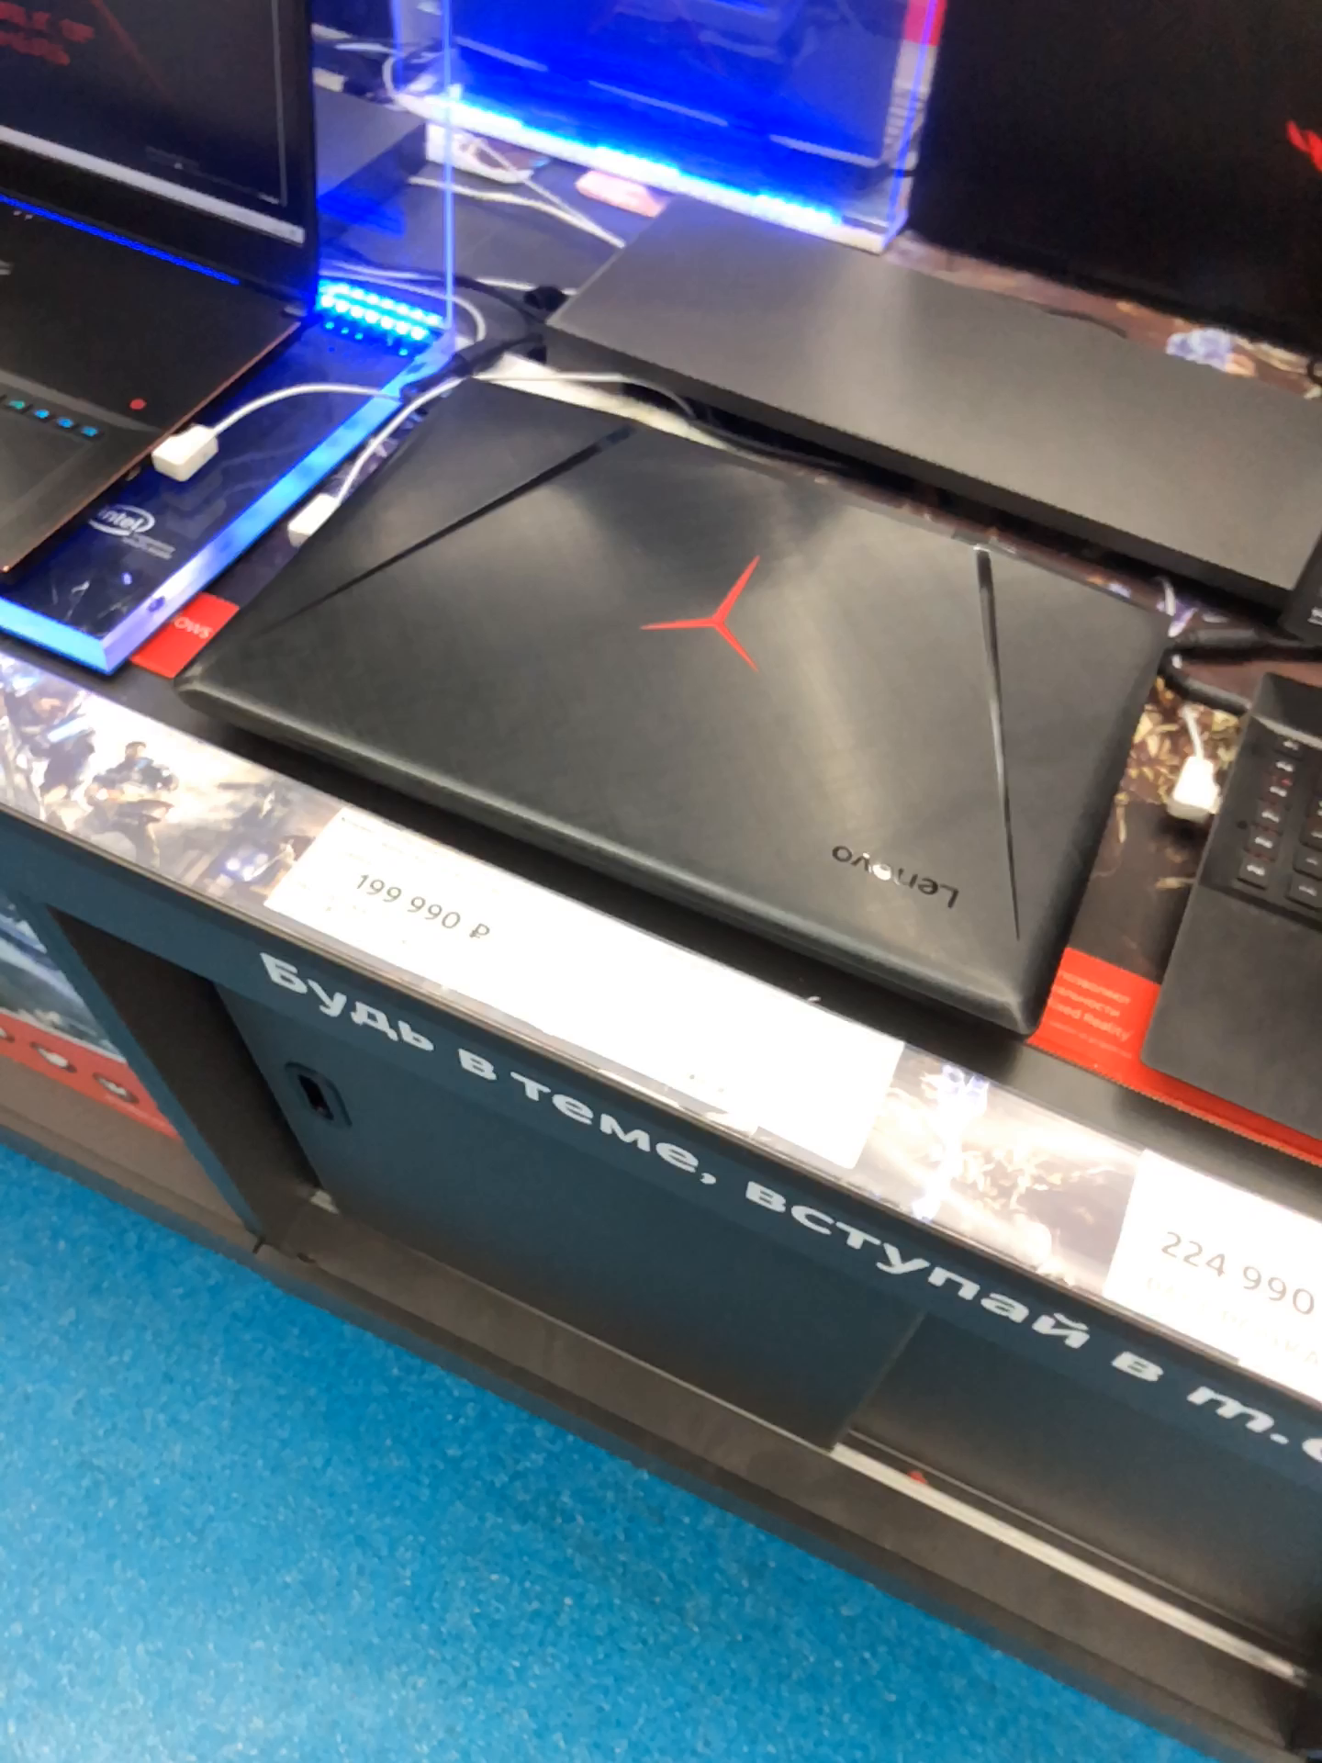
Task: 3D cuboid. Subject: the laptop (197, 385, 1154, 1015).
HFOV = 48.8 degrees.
[{"bbox_3d":[0.021,-0.114,0.719,0.399,0.005,0.270,22,53,10],"label":"laptop"}]
